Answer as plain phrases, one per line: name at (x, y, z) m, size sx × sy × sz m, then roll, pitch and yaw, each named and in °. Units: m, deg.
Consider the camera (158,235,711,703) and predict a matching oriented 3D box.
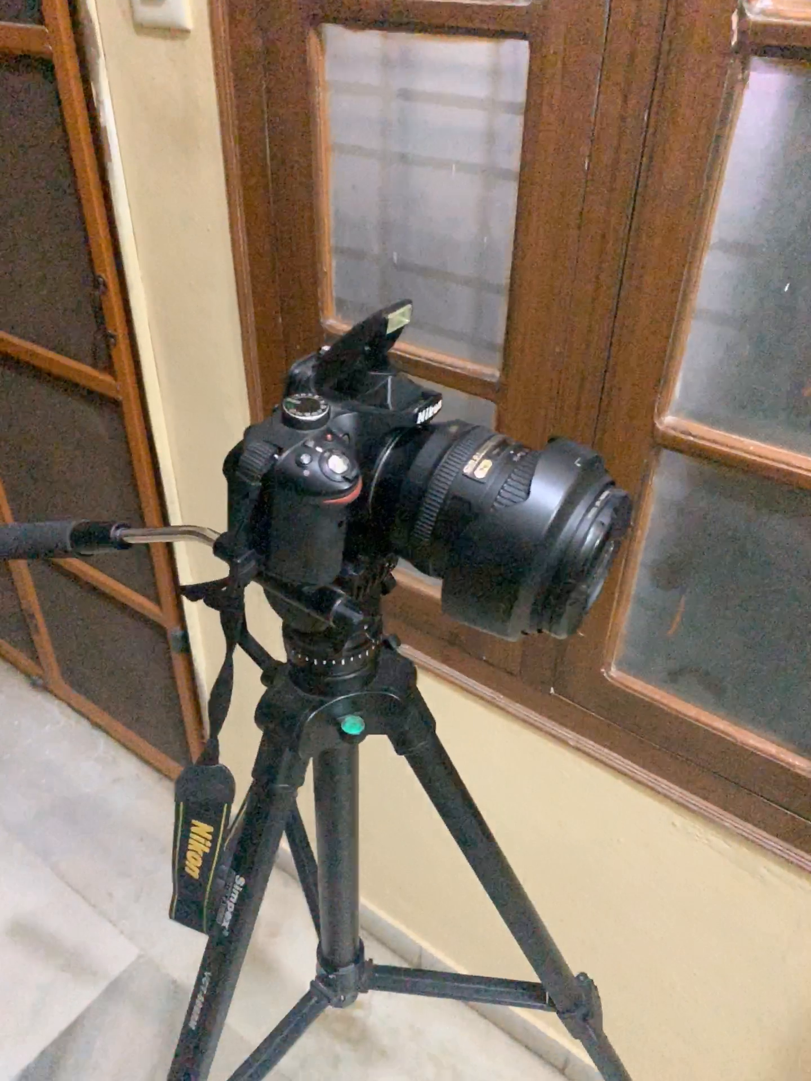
camera at (0.015, -0.052, 0.410) m, size 0.200 × 0.128 × 0.150 m, roll 21°, pitch 39°, yaw 26°
